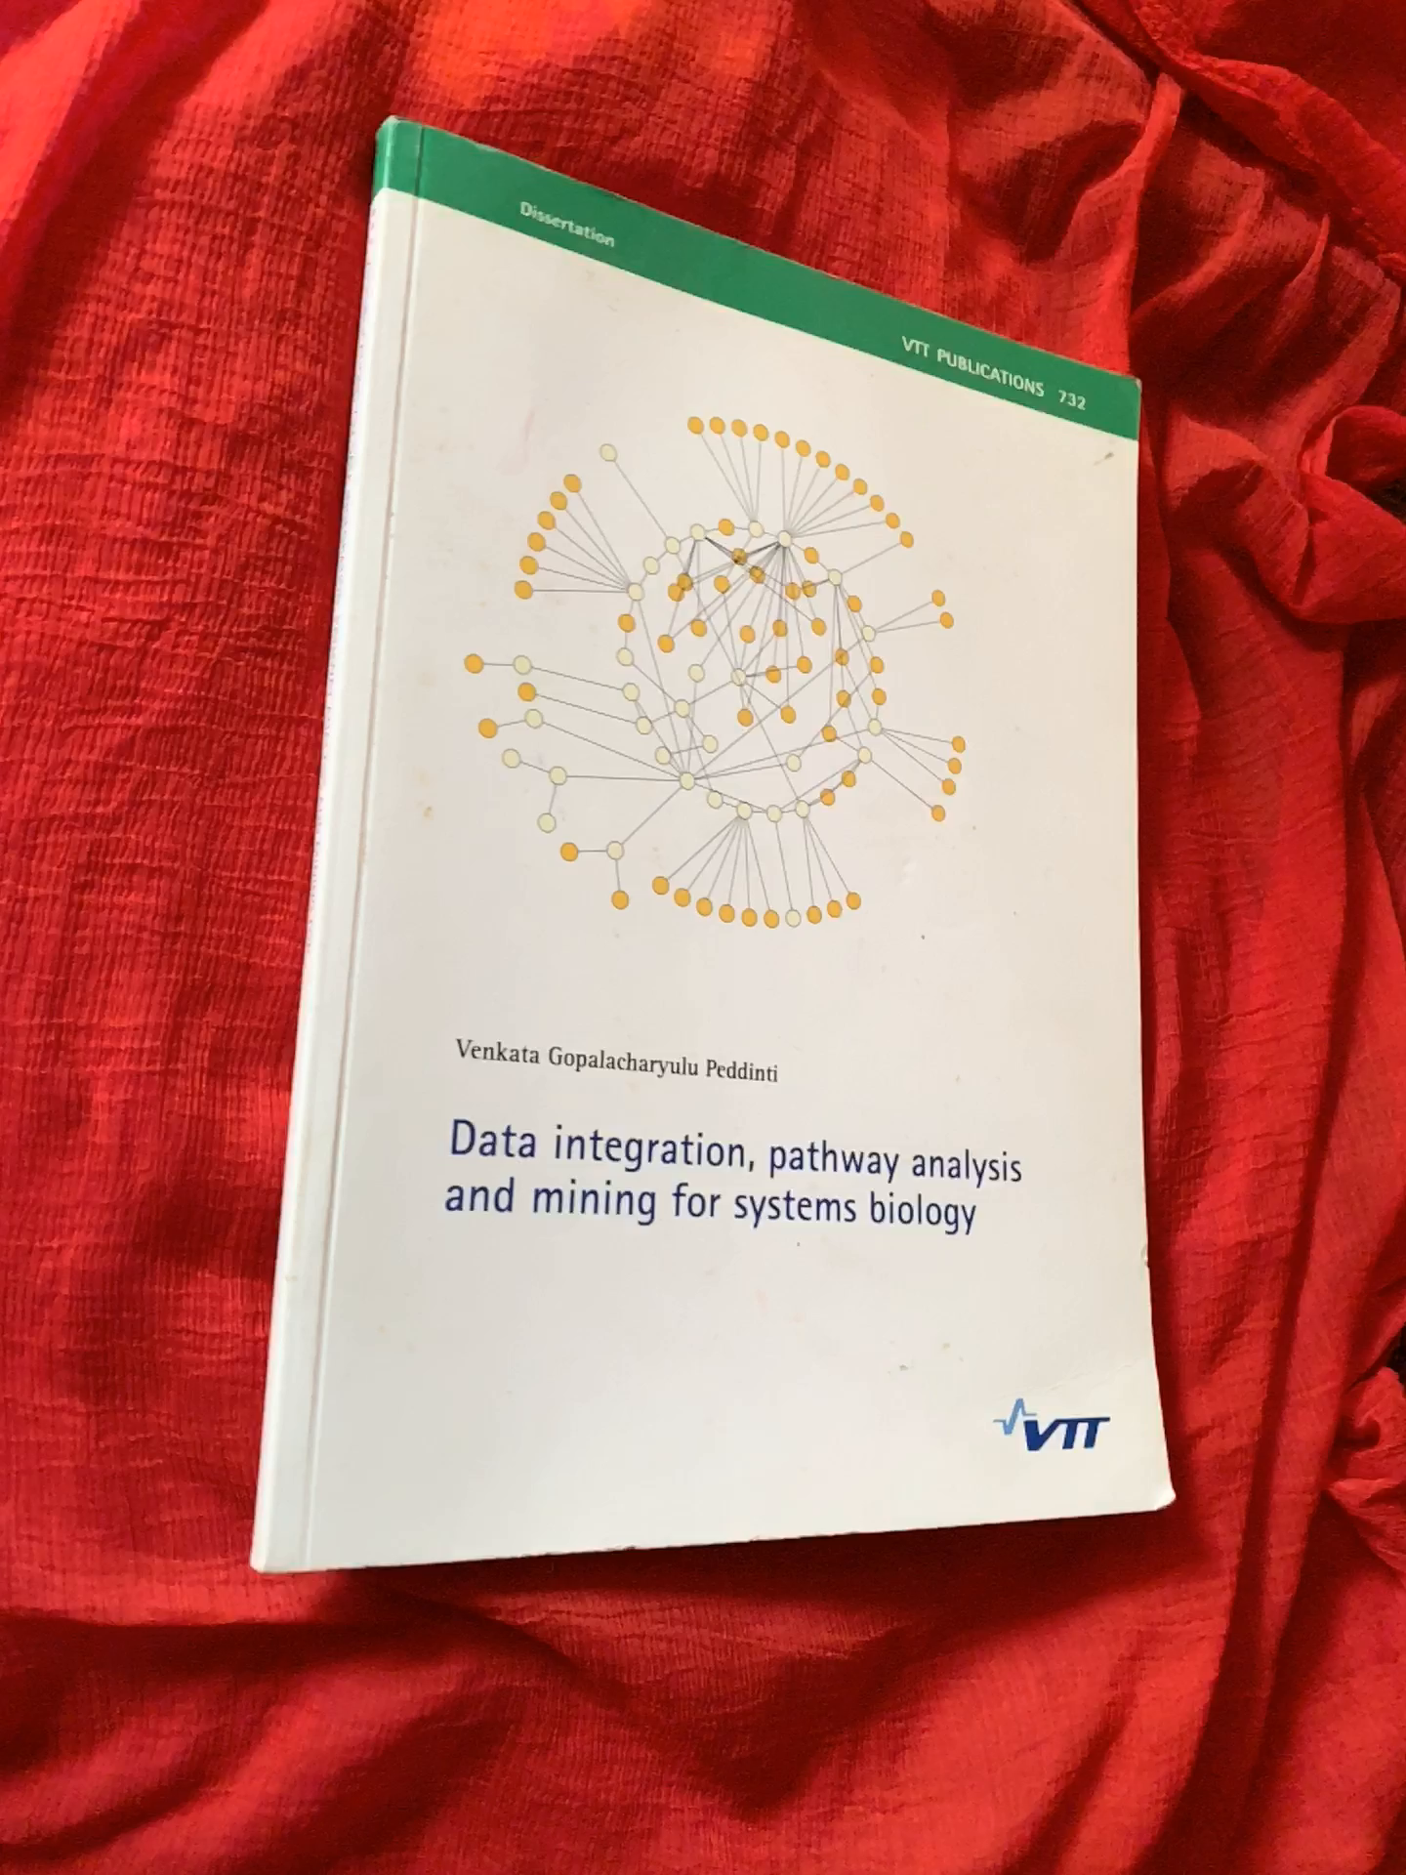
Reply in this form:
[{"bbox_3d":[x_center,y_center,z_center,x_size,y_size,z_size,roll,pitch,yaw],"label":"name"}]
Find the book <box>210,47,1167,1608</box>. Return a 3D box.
[{"bbox_3d":[0.012,-0.021,0.288,0.181,0.020,0.270,7,78,-24],"label":"book"}]
